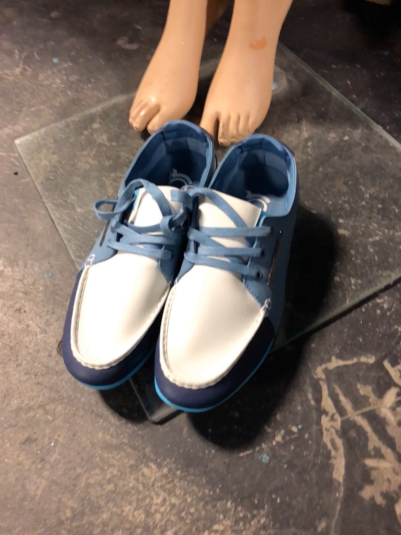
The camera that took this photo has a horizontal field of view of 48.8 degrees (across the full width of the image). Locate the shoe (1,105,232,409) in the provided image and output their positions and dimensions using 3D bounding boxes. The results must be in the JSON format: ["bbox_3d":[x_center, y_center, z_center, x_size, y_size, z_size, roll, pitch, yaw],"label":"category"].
[{"bbox_3d":[-0.055,-0.020,0.416,0.090,0.099,0.261,16,61,13],"label":"shoe"}]

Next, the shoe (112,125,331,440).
[{"bbox_3d":[0.033,0.002,0.397,0.100,0.099,0.251,15,60,15],"label":"shoe"}]
